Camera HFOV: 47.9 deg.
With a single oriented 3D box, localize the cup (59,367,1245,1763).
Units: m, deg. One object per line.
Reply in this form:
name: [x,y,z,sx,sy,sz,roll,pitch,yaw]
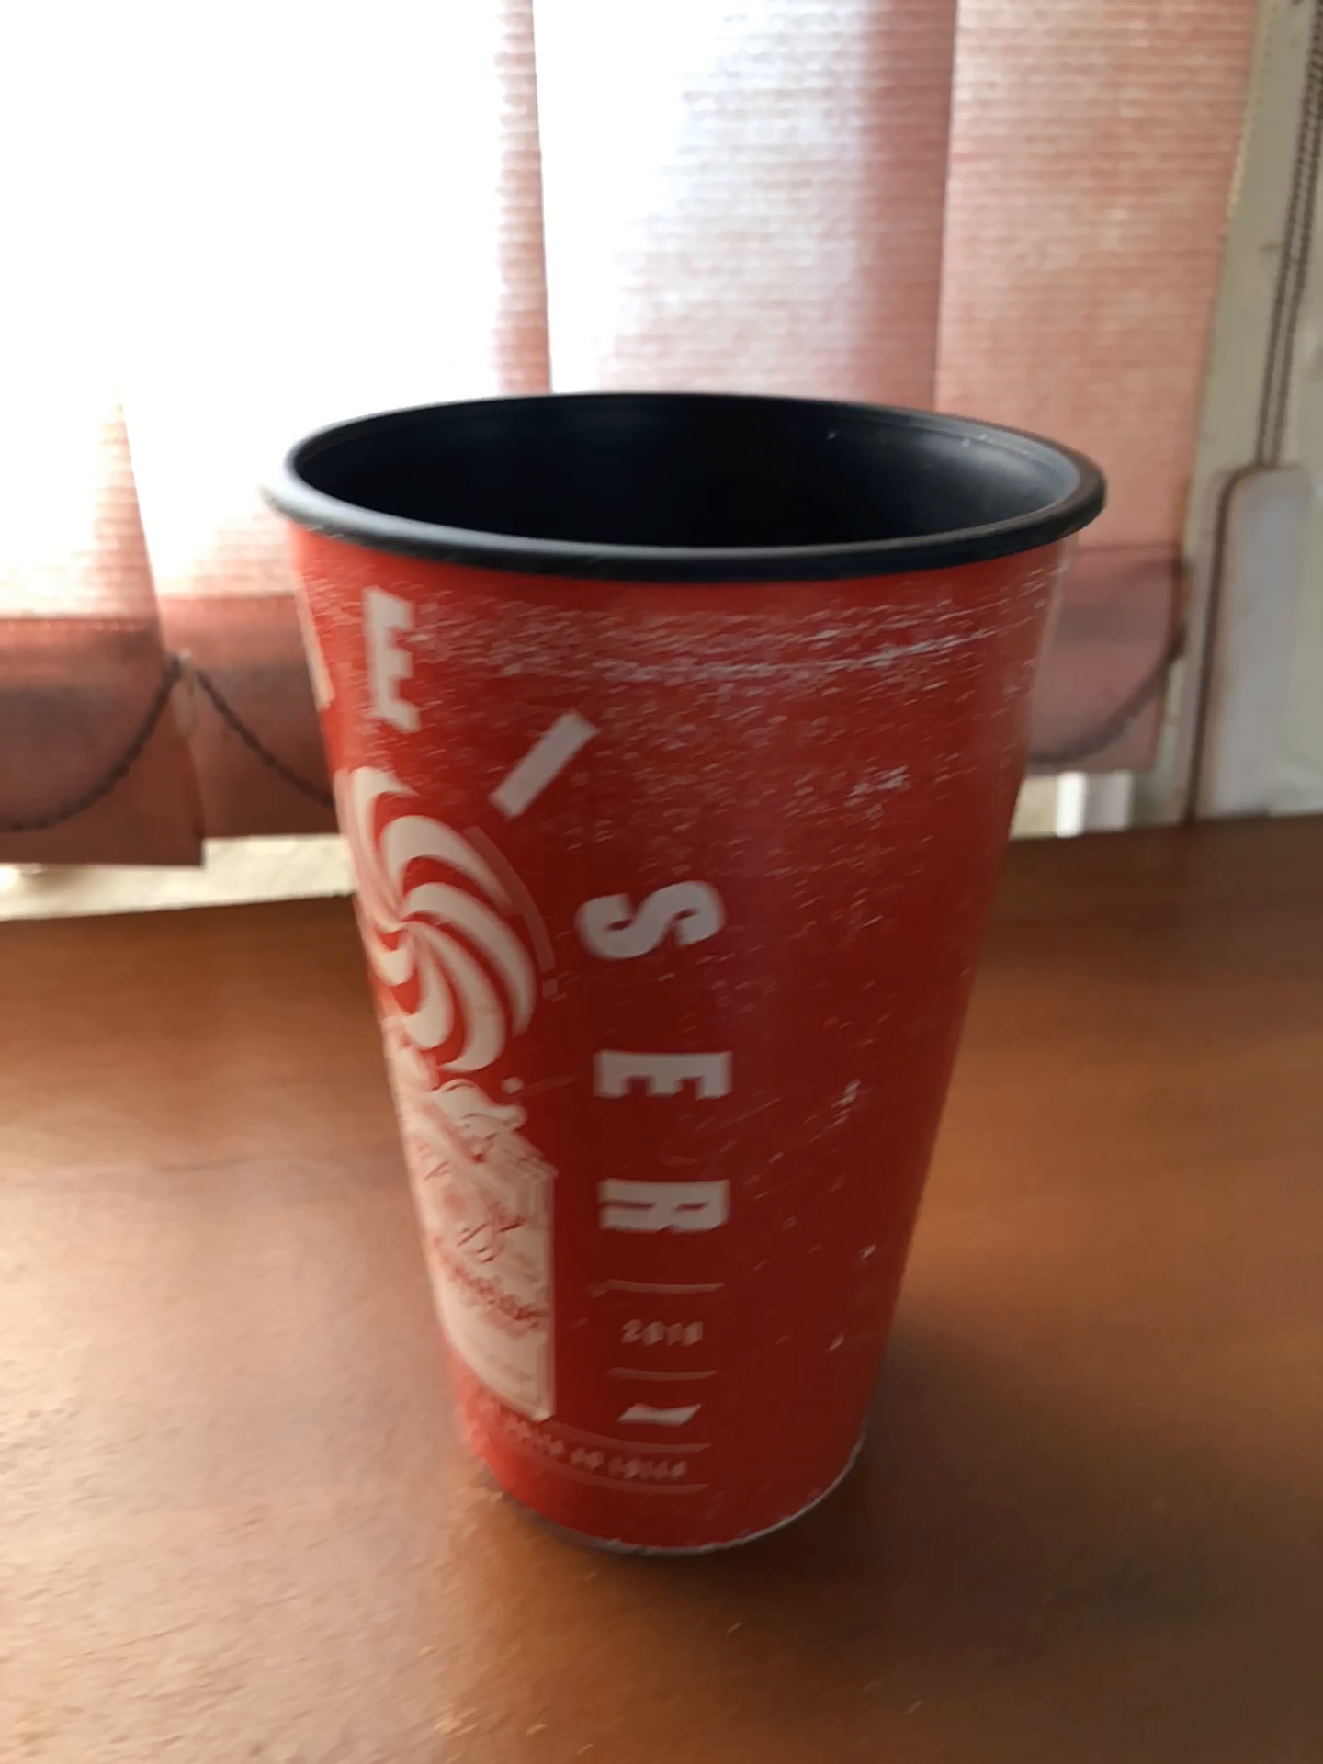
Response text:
cup: [0.000,0.012,0.198,0.100,0.139,0.090,20,32,38]
